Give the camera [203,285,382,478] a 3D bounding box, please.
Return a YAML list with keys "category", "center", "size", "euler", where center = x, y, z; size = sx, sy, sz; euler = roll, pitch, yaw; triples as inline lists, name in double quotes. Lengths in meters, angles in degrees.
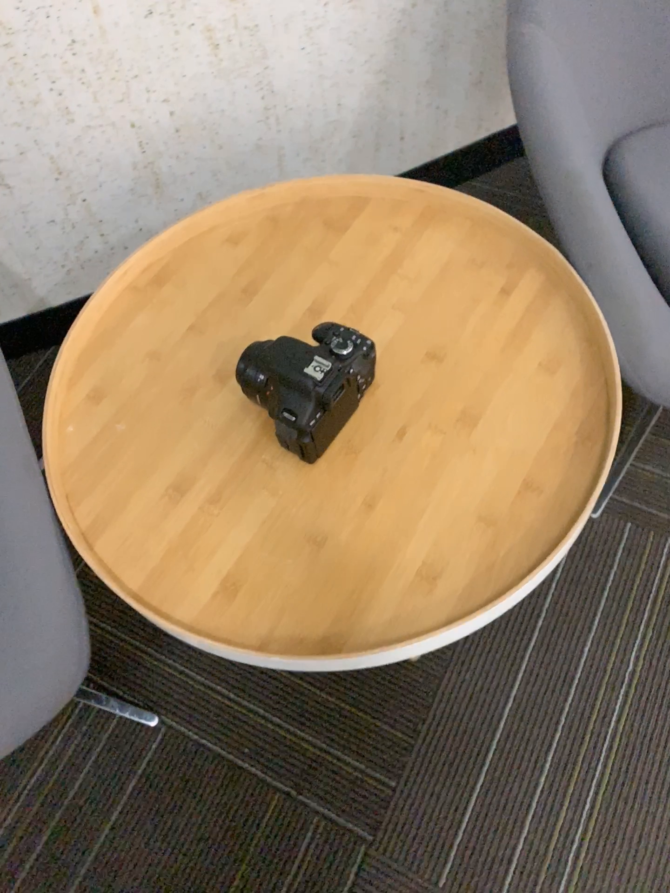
- category: "camera"
  center: [-0.039, -0.069, 0.725]
  size: [0.120, 0.100, 0.134]
  euler: [30, 69, 20]
